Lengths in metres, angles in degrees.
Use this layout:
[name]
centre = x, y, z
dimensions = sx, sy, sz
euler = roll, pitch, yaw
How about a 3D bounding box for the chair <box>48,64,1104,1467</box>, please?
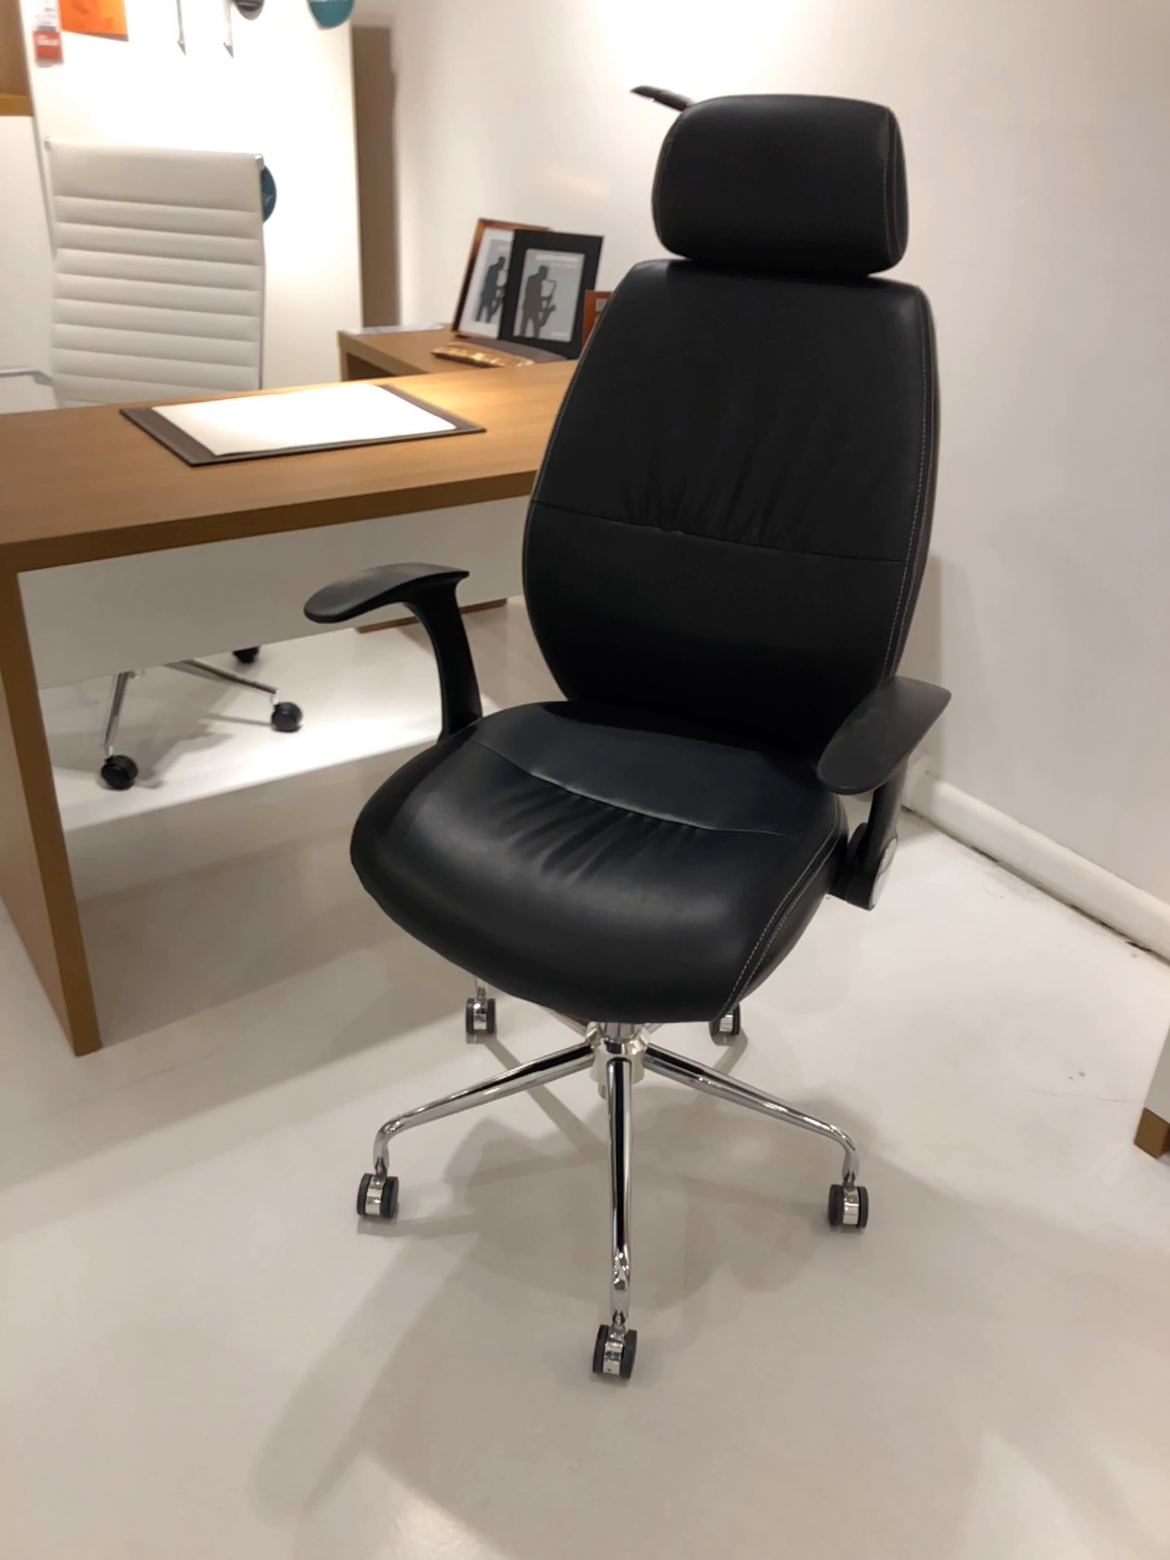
[chair]
centre = 0.023, -0.065, 1.485
dimensions = 0.691, 1.299, 0.715
euler = 18, 34, 25
